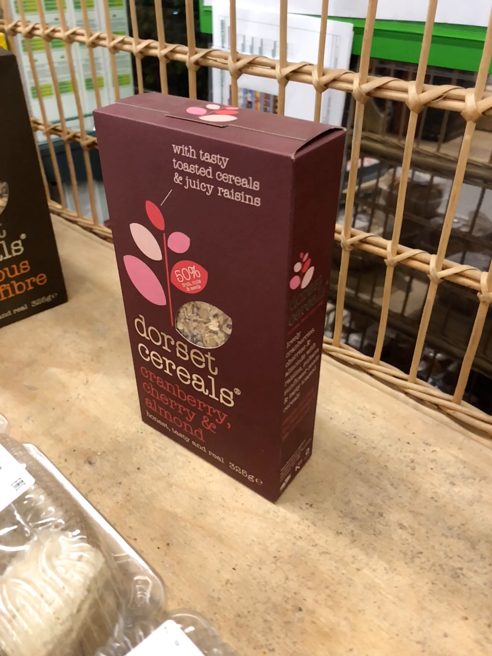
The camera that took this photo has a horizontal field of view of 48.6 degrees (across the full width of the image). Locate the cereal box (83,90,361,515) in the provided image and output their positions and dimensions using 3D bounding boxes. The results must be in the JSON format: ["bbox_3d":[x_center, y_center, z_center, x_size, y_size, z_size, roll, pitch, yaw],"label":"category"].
[{"bbox_3d":[-0.015,-0.009,0.305,0.120,0.209,0.050,23,40,29],"label":"cereal box"}]
